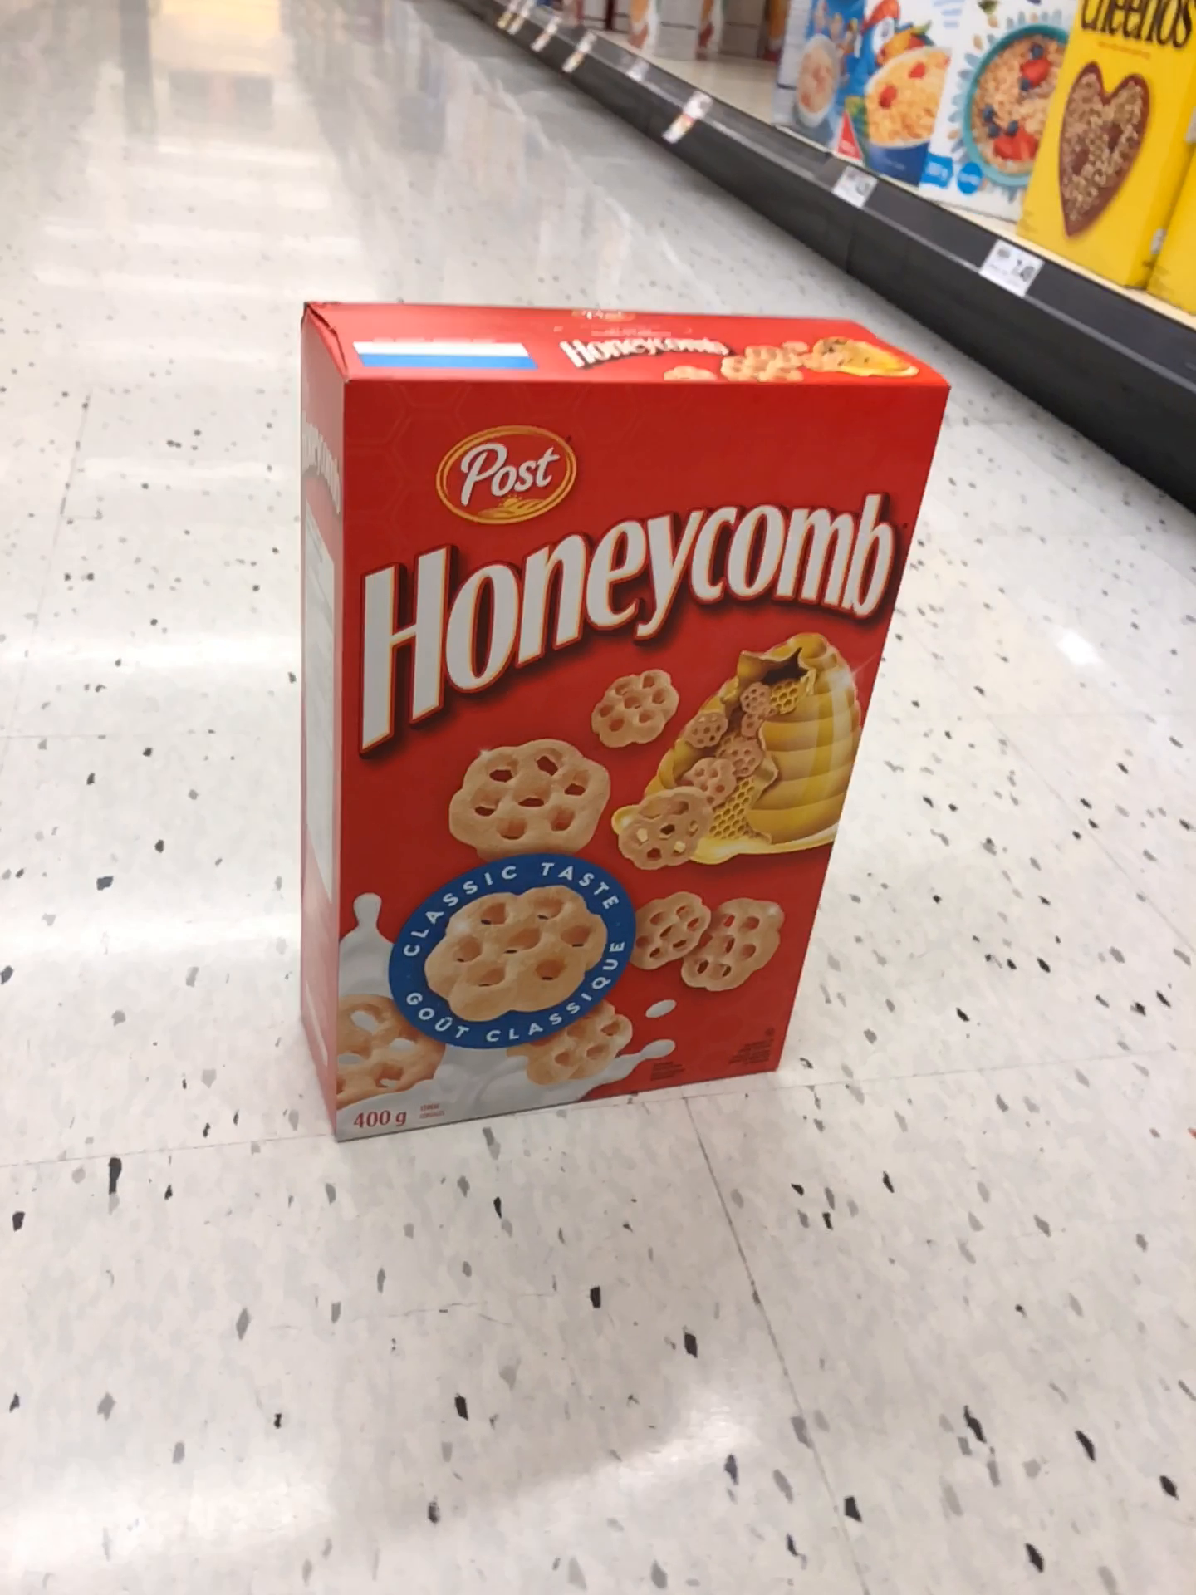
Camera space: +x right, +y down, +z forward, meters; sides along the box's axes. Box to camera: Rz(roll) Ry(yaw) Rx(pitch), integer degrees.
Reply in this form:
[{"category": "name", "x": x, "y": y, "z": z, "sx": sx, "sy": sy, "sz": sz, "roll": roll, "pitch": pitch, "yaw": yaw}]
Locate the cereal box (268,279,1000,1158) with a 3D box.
[{"category": "cereal box", "x": -0.007, "y": -0.020, "z": 0.489, "sx": 0.210, "sy": 0.298, "sz": 0.090, "roll": -5, "pitch": 36, "yaw": -19}]
